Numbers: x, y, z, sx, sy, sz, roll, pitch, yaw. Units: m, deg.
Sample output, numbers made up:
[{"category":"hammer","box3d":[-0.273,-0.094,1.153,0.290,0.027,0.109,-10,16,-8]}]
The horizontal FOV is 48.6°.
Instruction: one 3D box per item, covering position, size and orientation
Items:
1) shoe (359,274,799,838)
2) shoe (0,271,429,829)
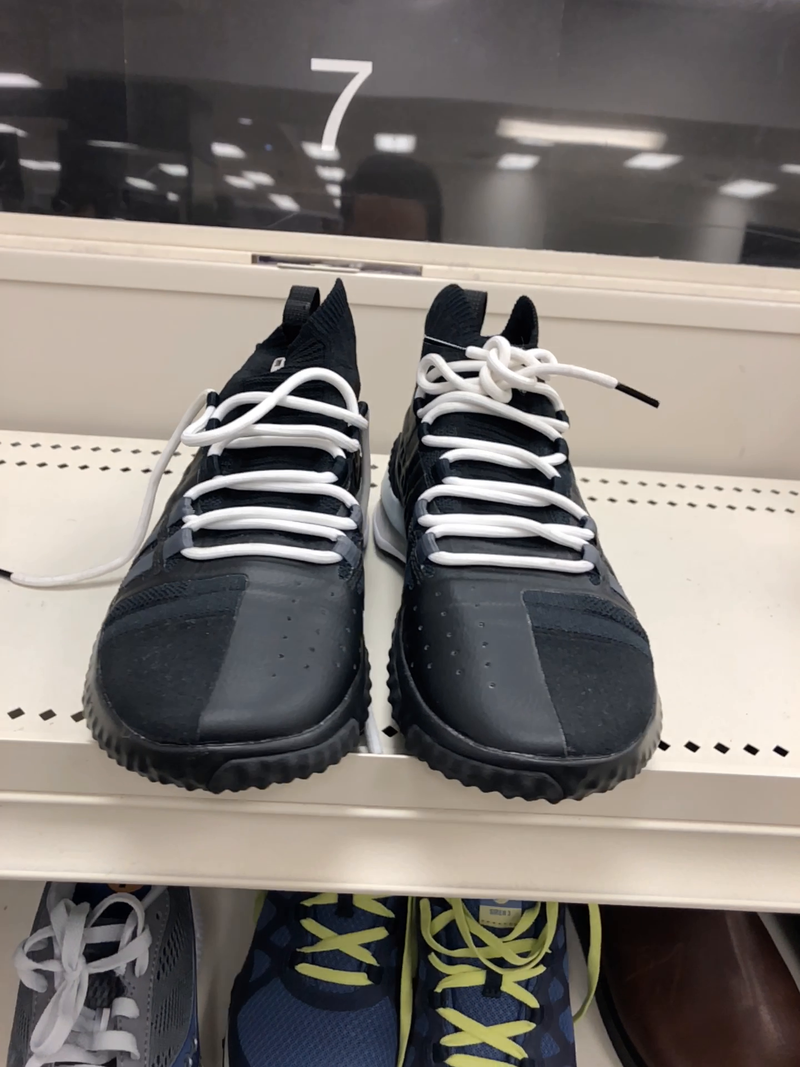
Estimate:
[{"category":"shoe","box3d":[0.049,-0.031,0.431,0.120,0.136,0.352,3,22,-5]},{"category":"shoe","box3d":[-0.058,-0.035,0.434,0.120,0.136,0.352,3,22,-2]}]
